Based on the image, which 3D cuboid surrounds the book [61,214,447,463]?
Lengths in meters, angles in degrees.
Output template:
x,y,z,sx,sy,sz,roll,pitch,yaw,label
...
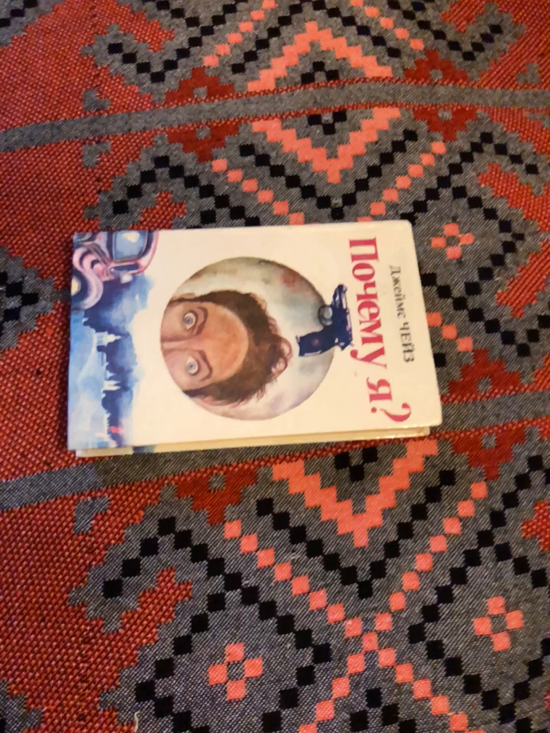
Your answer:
x,y,z,sx,sy,sz,roll,pitch,yaw,label
-0.014,-0.019,0.357,0.204,0.029,0.133,-3,73,-5,book
